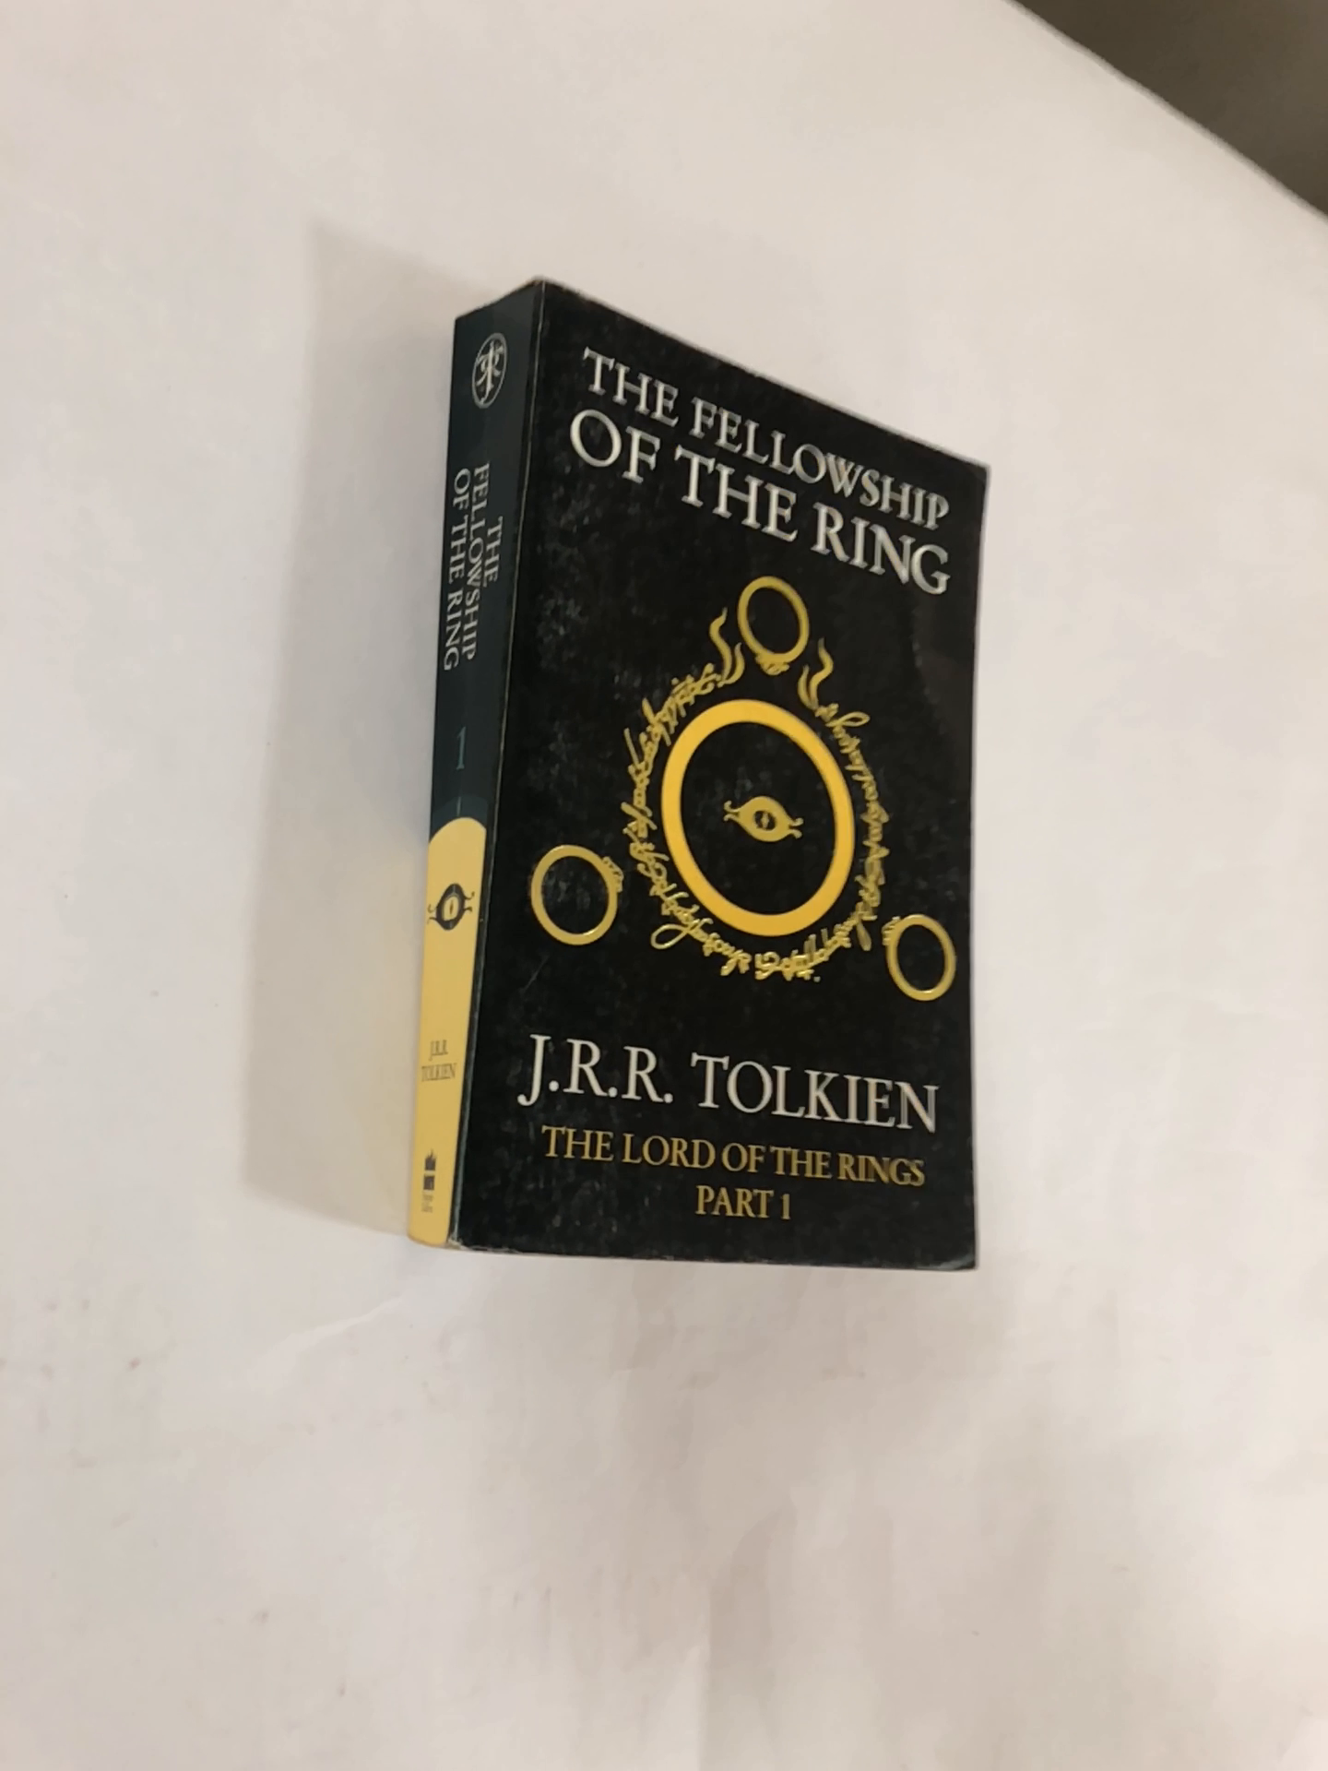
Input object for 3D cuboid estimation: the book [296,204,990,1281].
[{"bbox_3d":[0.003,-0.021,0.320,0.130,0.050,0.200,10,76,-28],"label":"book"}]
